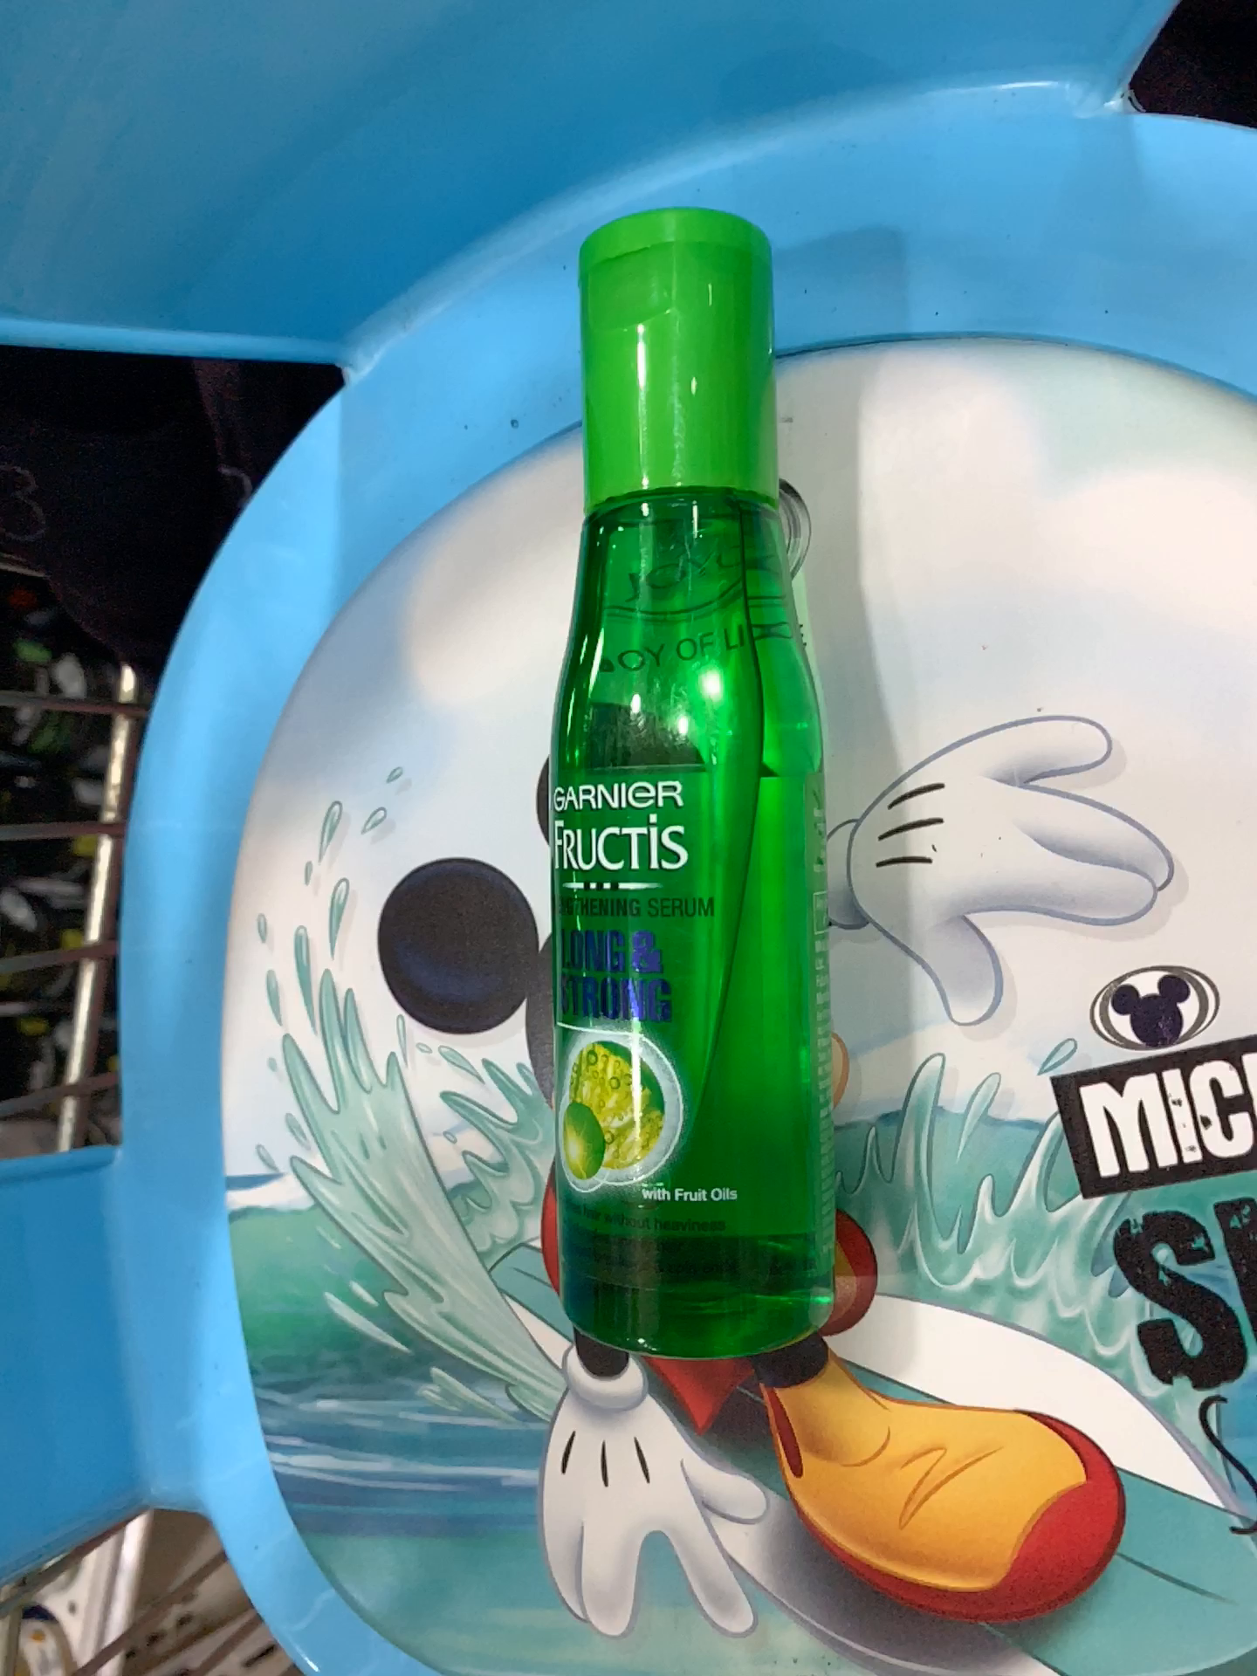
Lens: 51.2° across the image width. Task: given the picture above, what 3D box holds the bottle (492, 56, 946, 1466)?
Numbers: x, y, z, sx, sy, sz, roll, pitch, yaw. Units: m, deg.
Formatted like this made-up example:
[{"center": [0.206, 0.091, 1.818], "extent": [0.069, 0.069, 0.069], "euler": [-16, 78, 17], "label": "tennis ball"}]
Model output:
[{"center": [0.011, -0.009, 0.177], "extent": [0.040, 0.040, 0.160], "euler": [-4, 87, 48], "label": "bottle"}]
